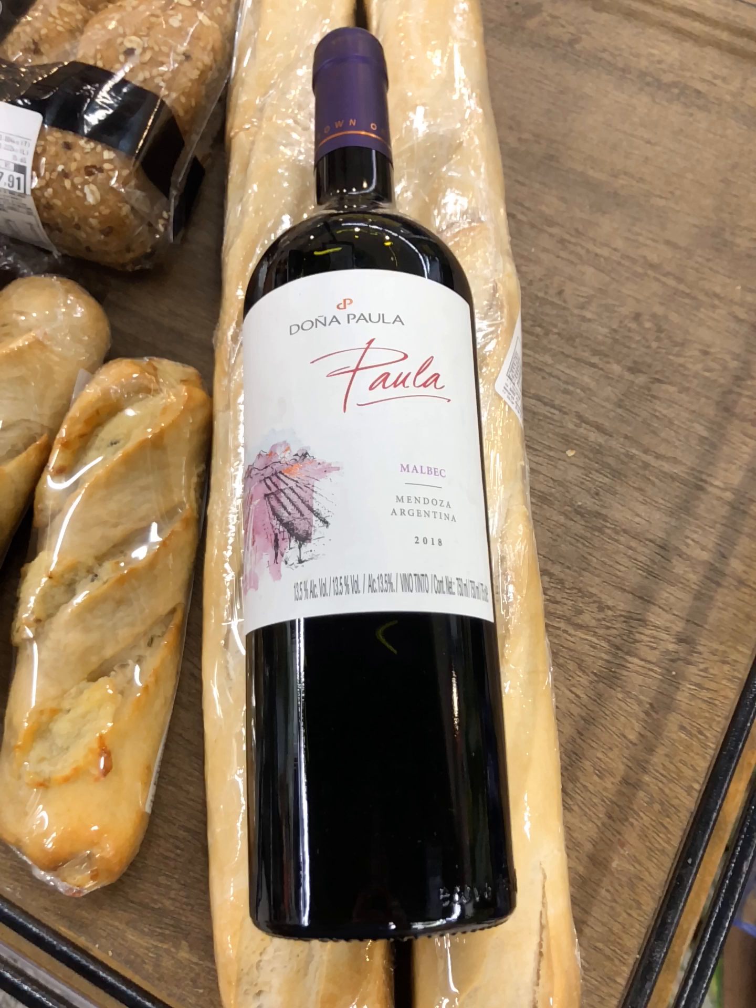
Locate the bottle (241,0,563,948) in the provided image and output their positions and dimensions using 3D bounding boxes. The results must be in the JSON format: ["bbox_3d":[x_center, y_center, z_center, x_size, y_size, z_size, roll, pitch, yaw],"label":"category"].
[{"bbox_3d":[-0.002,-0.037,0.262,0.070,0.060,0.301,-3,70,1],"label":"bottle"}]
